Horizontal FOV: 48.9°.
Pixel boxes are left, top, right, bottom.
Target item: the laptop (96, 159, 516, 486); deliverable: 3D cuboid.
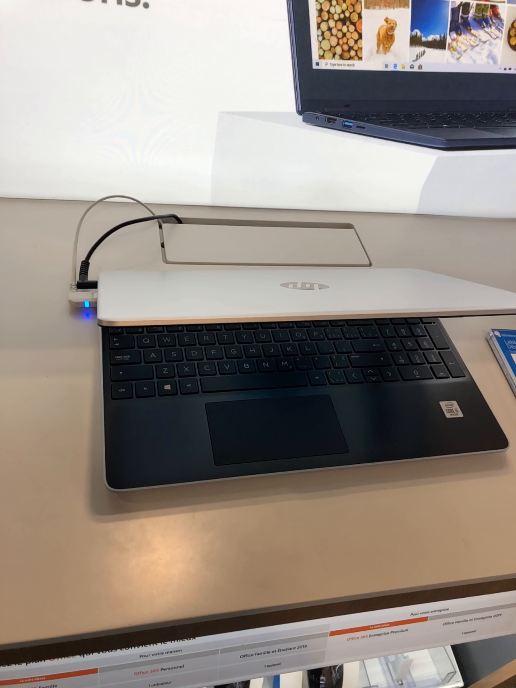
[{"bbox_3d":[0.046,-0.033,0.492,0.346,0.131,0.230,-3,48,-15],"label":"laptop"}]
